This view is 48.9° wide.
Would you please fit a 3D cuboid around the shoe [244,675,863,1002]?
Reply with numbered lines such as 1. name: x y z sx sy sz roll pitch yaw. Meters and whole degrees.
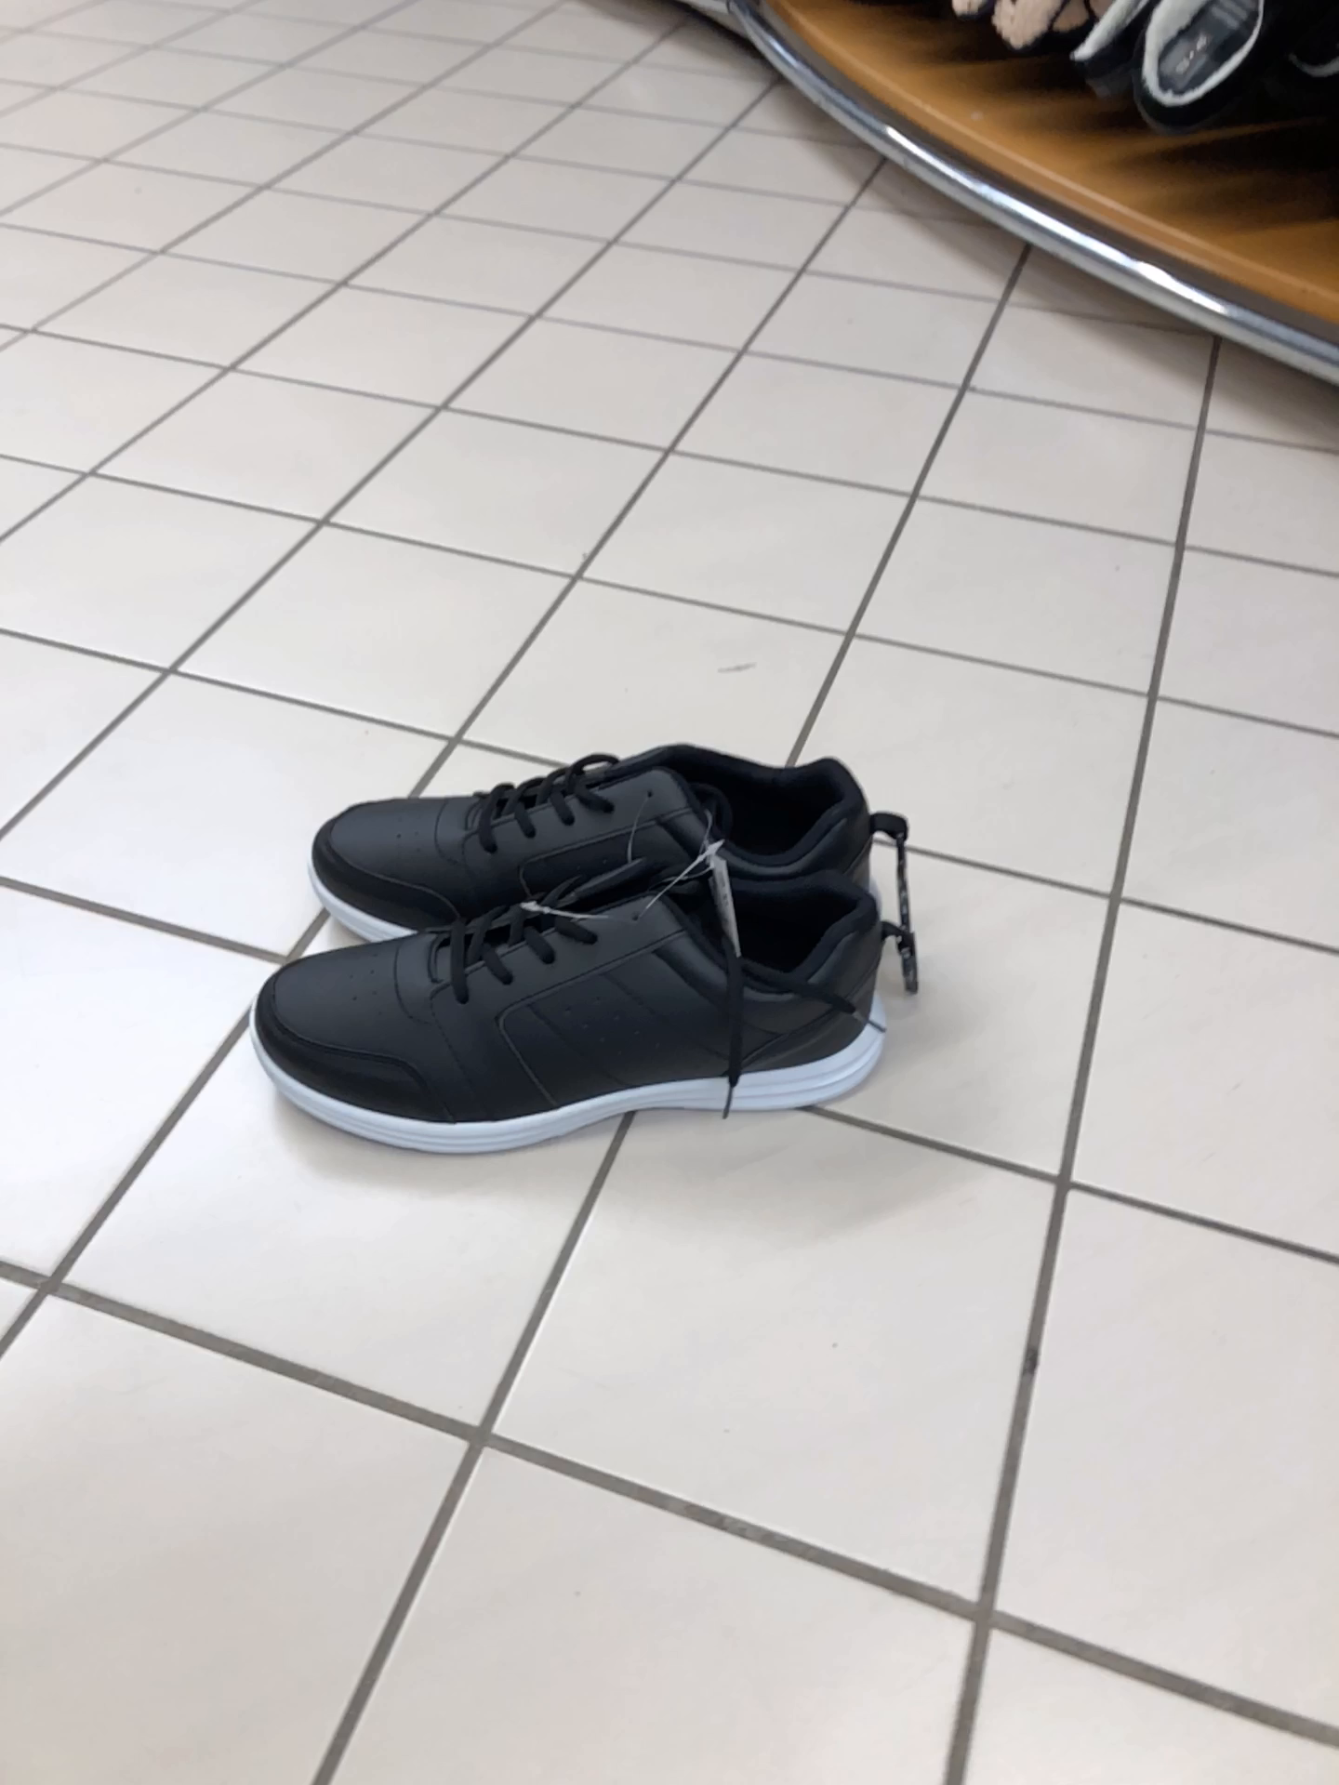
1. shoe: -0.054 -0.028 0.771 0.290 0.119 0.111 2 43 0

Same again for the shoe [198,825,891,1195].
1. shoe: -0.055 0.054 0.699 0.290 0.119 0.111 -2 43 -4
